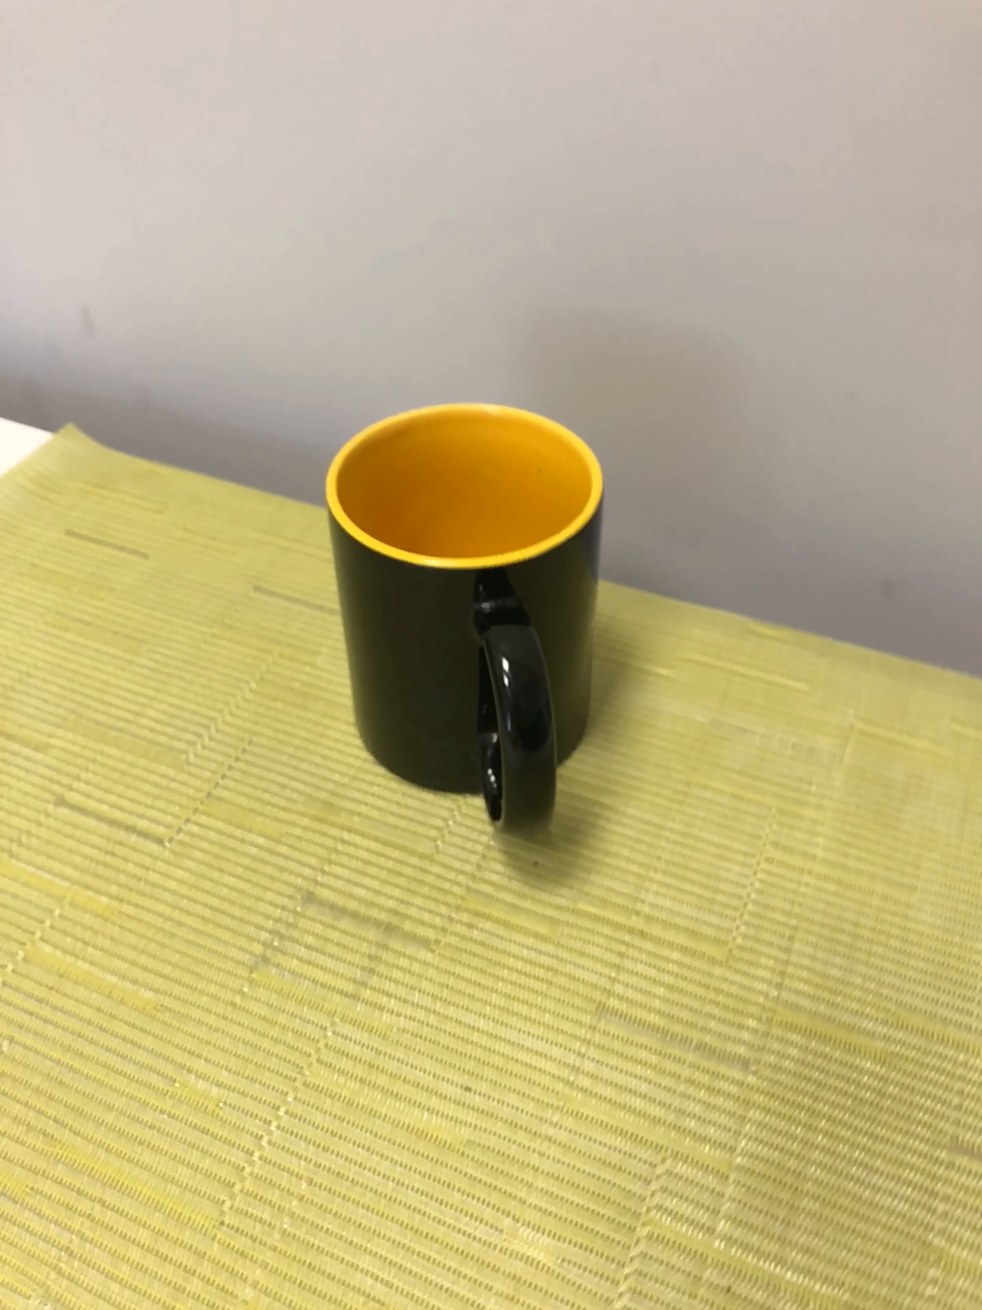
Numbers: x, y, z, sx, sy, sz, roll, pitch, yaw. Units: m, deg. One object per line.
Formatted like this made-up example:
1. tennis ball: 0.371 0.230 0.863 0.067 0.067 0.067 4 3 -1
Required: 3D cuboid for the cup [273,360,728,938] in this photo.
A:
1. cup: -0.004 -0.006 0.328 0.088 0.104 0.120 -13 44 -13
